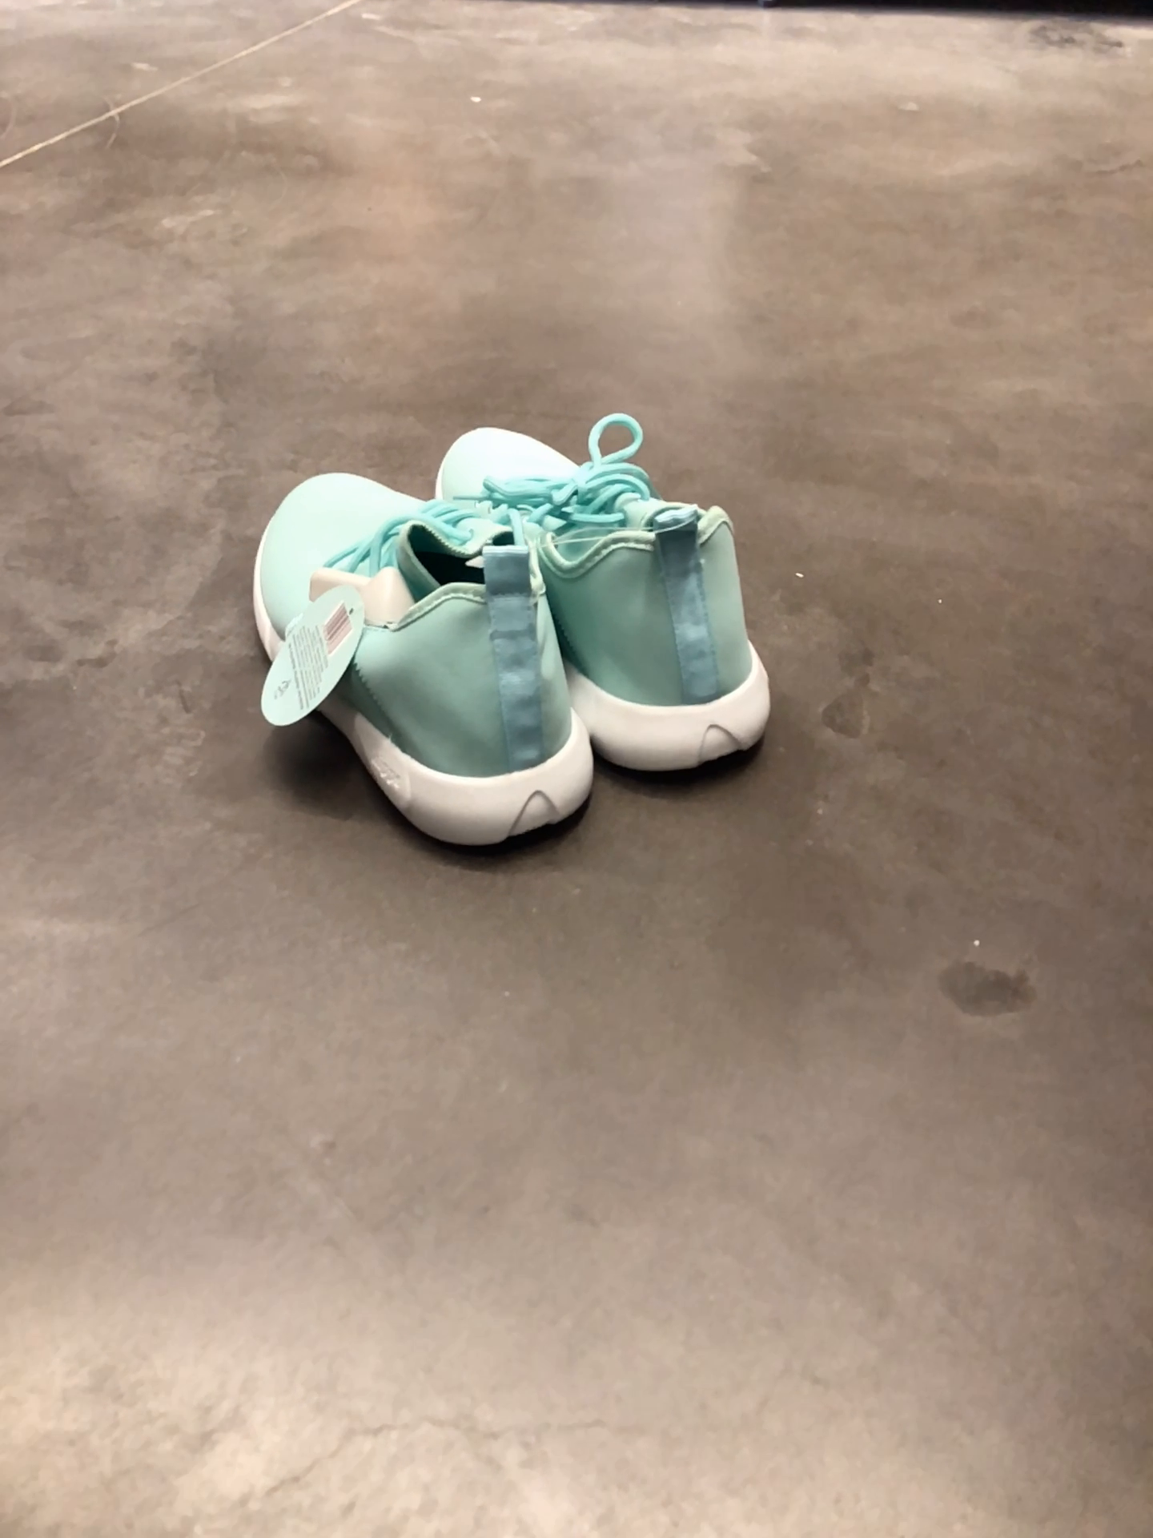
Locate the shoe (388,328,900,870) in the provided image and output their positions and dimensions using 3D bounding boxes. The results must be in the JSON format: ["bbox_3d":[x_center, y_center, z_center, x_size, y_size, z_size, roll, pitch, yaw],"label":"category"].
[{"bbox_3d":[0.013,-0.083,0.511,0.100,0.099,0.231,-17,42,-19],"label":"shoe"}]

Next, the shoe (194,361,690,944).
[{"bbox_3d":[-0.060,-0.060,0.487,0.100,0.099,0.231,-18,42,-20],"label":"shoe"}]
